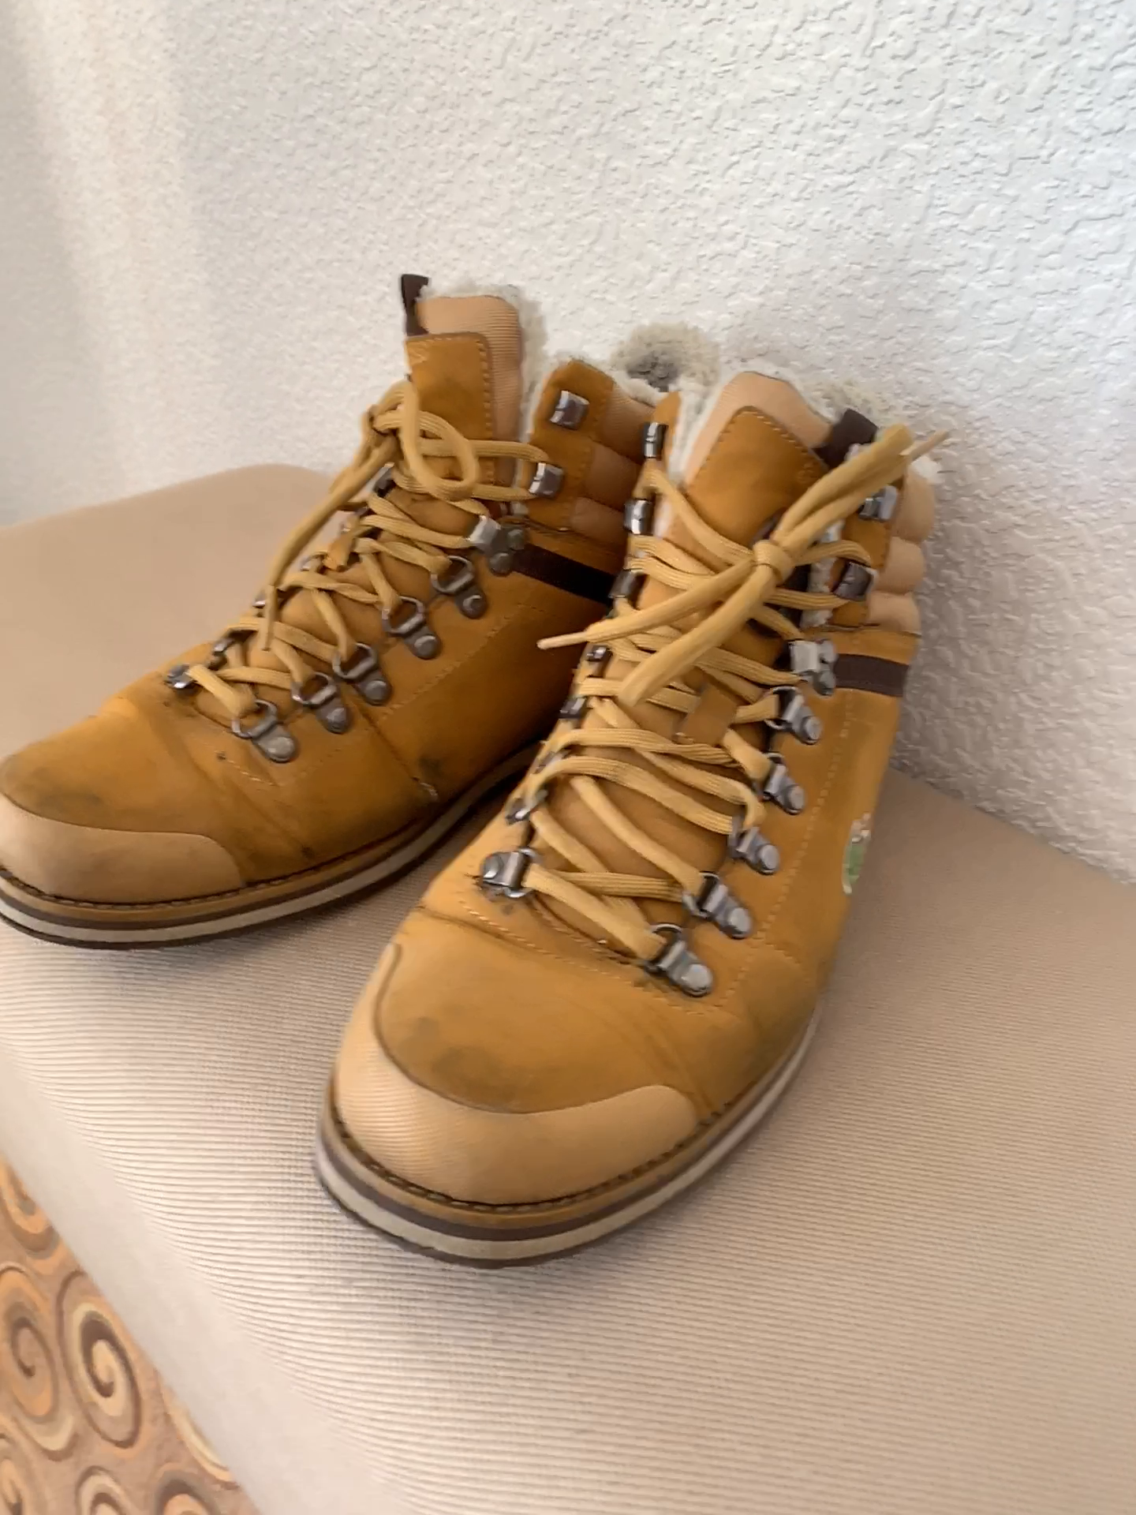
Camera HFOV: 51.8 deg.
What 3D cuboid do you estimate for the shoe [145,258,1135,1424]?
[{"bbox_3d":[0.051,-0.017,0.329,0.120,0.149,0.301,19,42,22],"label":"shoe"}]

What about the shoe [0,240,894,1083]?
[{"bbox_3d":[-0.046,-0.058,0.385,0.300,0.149,0.120,-27,46,-34],"label":"shoe"}]
